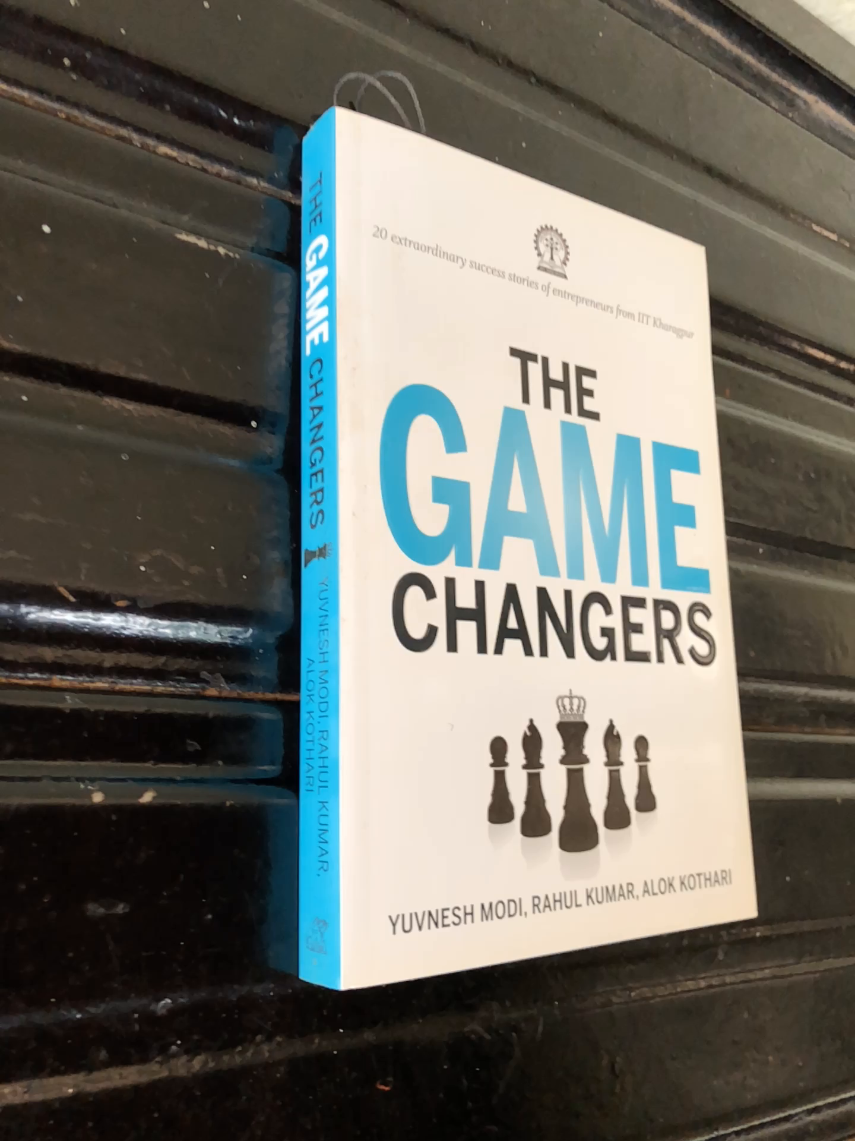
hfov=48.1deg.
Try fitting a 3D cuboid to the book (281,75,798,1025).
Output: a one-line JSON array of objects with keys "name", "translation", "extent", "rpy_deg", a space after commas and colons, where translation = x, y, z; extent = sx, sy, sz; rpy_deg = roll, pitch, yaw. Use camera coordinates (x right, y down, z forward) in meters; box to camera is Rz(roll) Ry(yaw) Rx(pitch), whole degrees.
[{"name": "book", "translation": [0.031, -0.004, 0.237], "extent": [0.131, 0.030, 0.190], "rpy_deg": [6, 78, -34]}]
